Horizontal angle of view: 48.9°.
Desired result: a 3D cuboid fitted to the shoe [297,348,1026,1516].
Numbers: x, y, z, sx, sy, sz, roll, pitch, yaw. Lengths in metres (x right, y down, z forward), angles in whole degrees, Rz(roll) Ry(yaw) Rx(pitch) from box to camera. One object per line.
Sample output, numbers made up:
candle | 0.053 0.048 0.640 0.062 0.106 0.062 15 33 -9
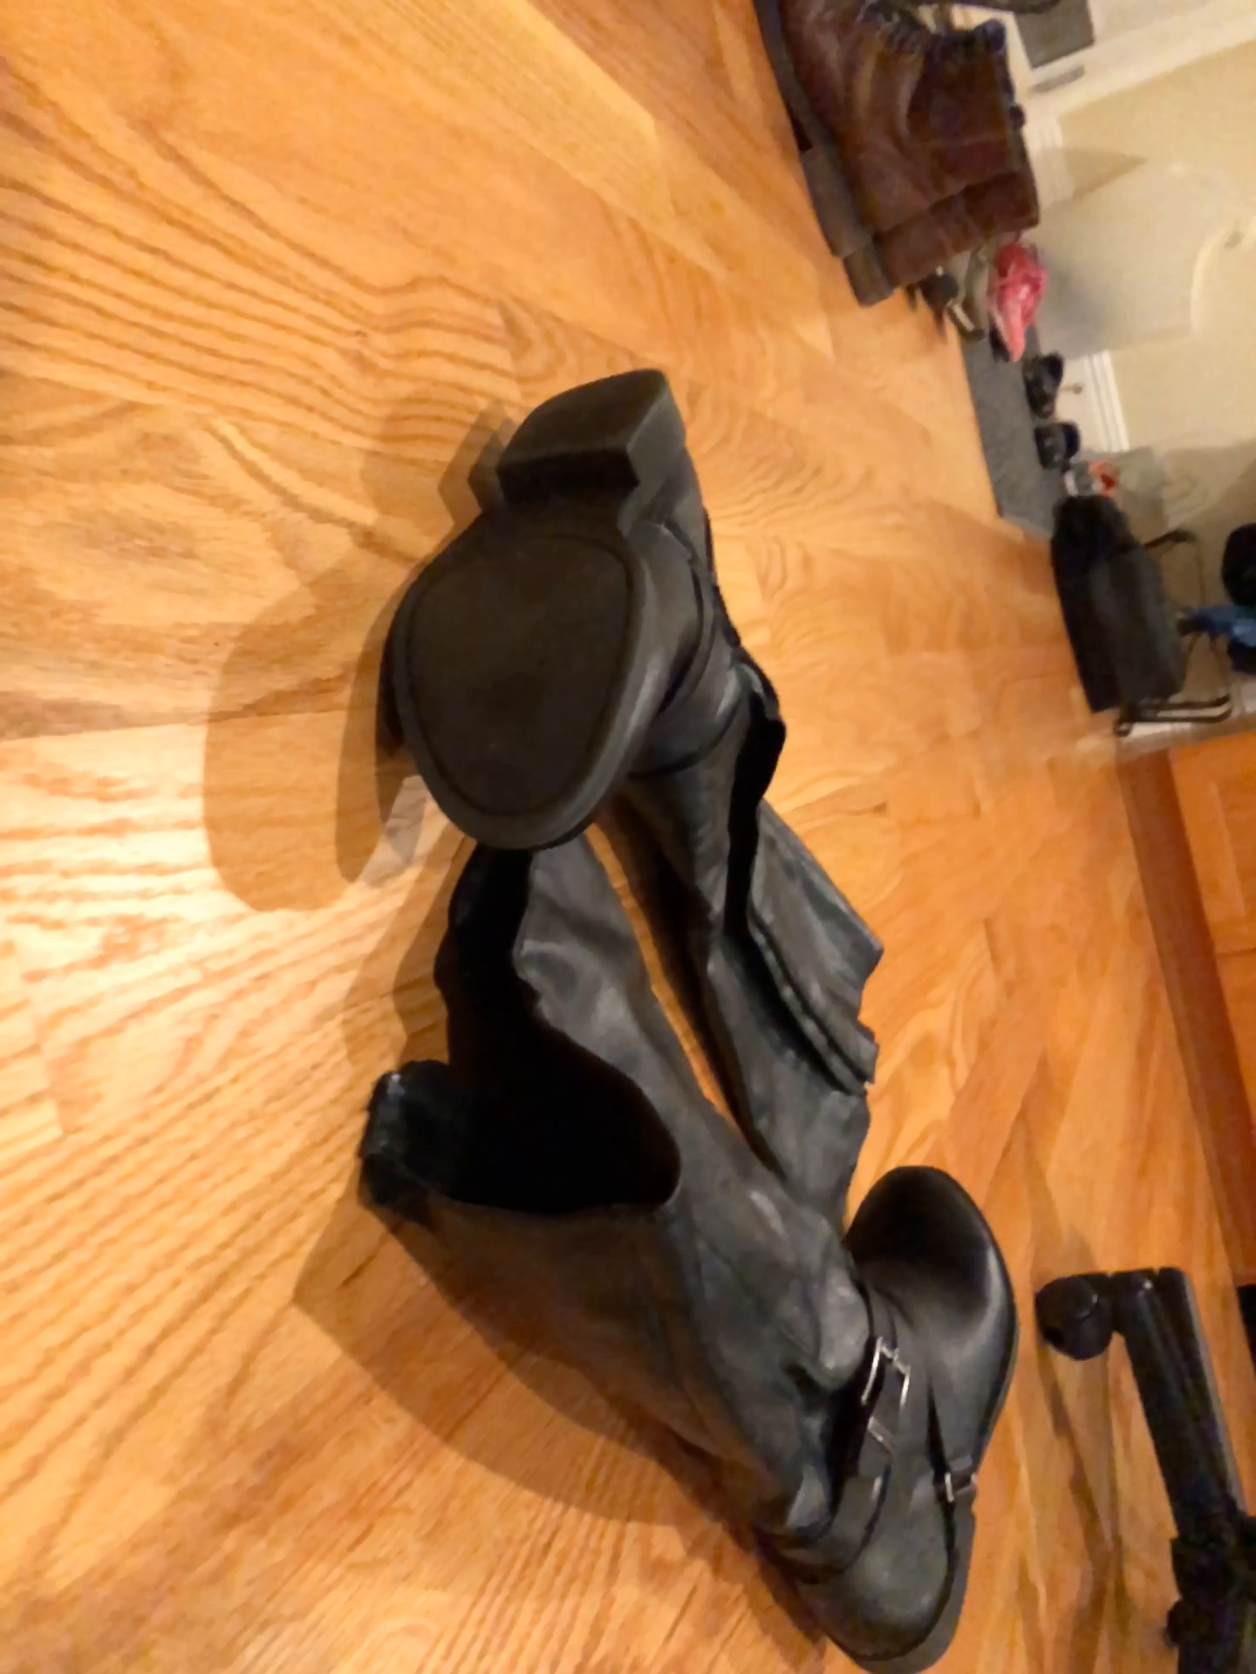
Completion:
shoe | 0.058 0.049 0.553 0.393 0.094 0.251 61 28 -31

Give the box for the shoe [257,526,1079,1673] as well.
shoe | 0.067 0.139 0.527 0.403 0.104 0.291 62 28 -33
